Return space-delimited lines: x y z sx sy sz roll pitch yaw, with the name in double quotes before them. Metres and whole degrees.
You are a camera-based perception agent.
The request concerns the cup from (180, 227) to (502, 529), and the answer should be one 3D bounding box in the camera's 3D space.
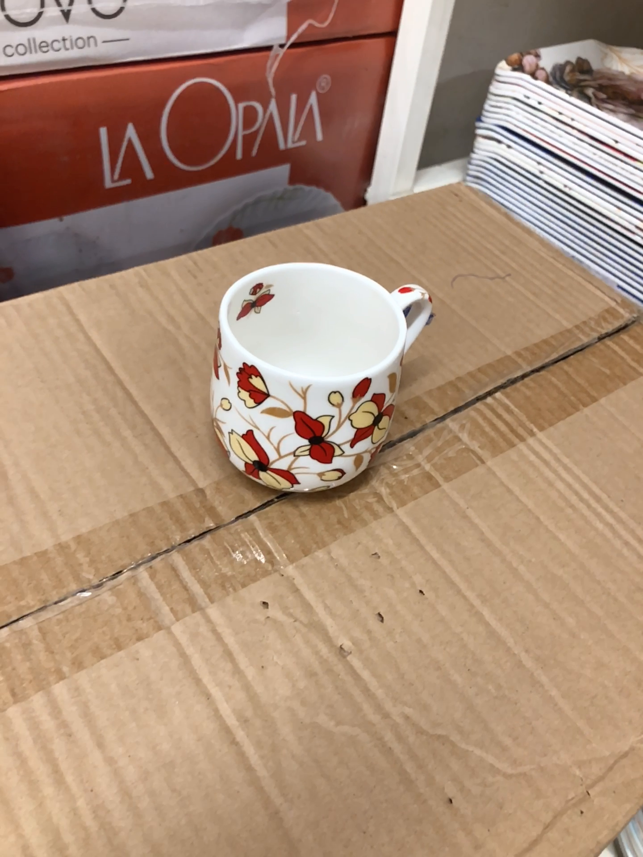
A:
"cup" 0.004 -0.022 0.260 0.090 0.060 0.060 -24 54 -30
